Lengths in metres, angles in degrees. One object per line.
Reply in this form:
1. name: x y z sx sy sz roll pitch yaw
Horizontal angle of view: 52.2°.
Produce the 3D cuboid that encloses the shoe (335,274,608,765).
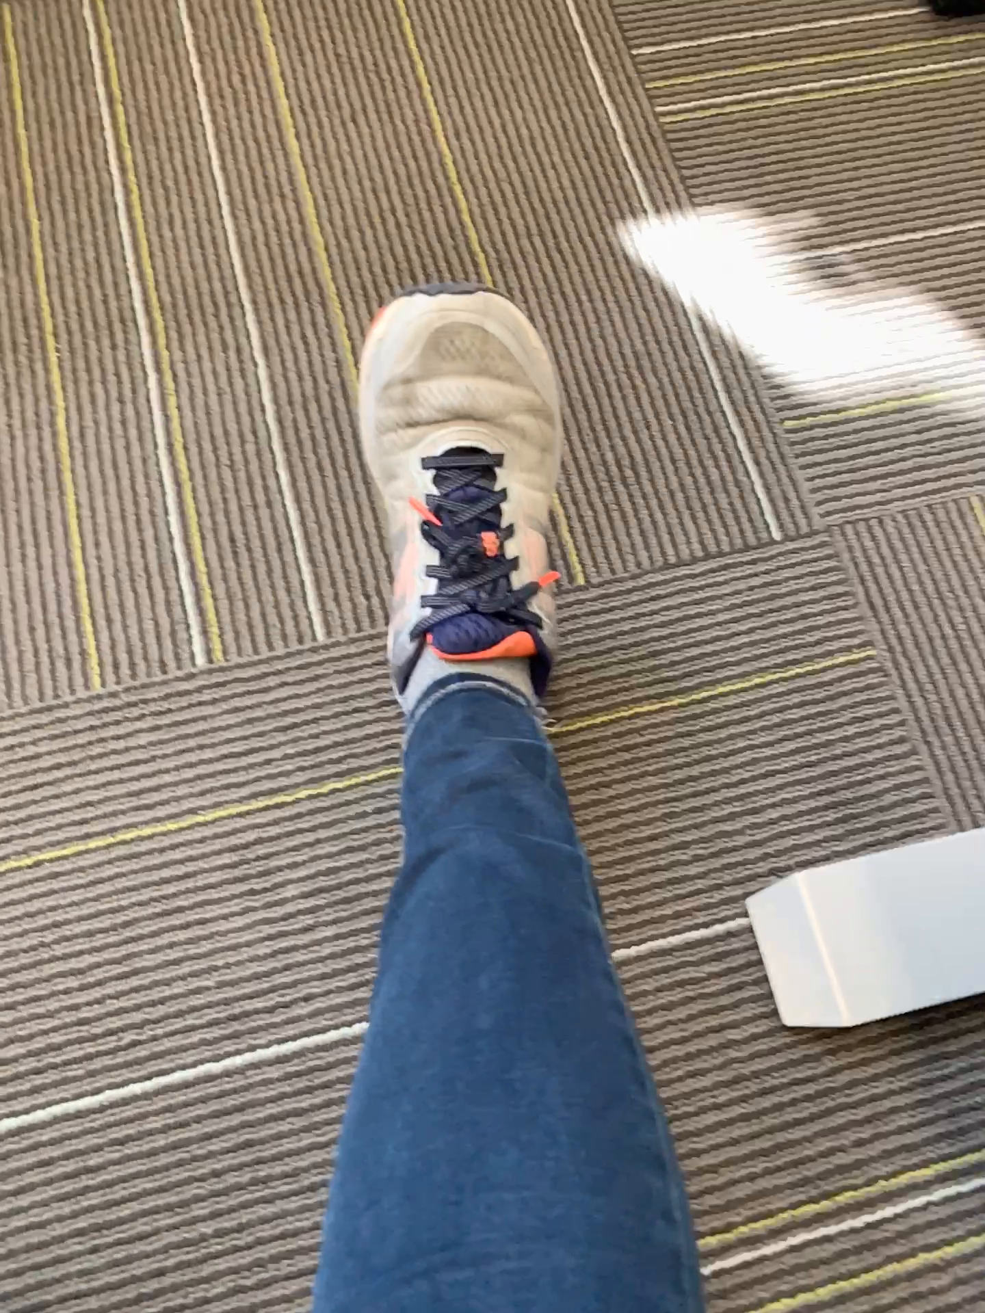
1. shoe: -0.009 -0.074 0.530 0.120 0.110 0.230 -3 108 -3
